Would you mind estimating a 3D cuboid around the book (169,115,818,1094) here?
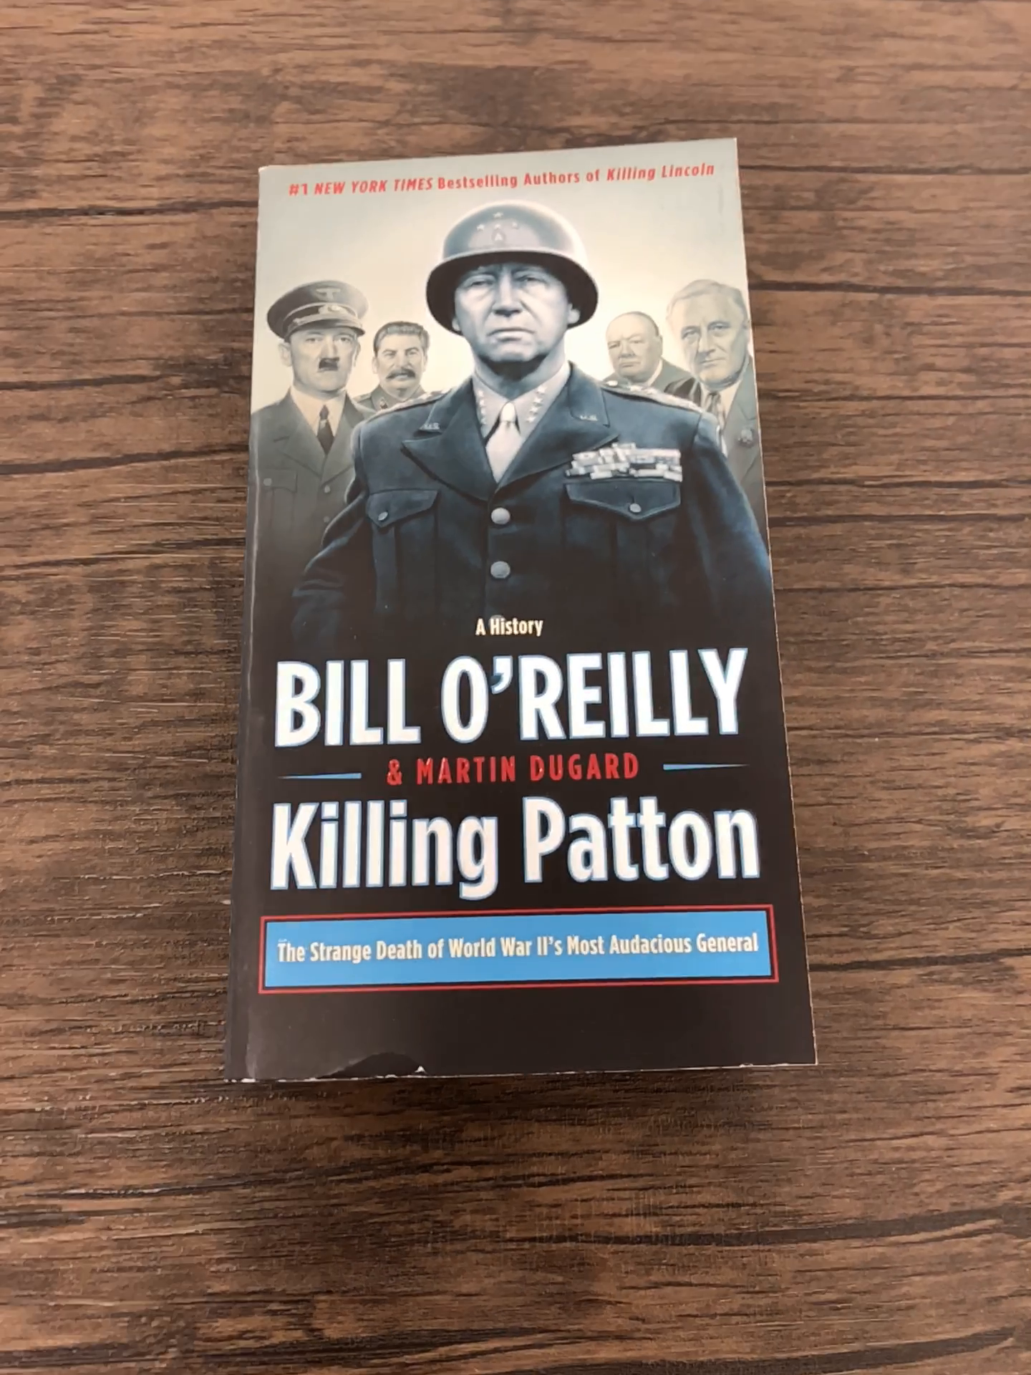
[{"bbox_3d":[-0.005,-0.018,0.228,0.105,0.040,0.182,-2,76,4],"label":"book"}]
